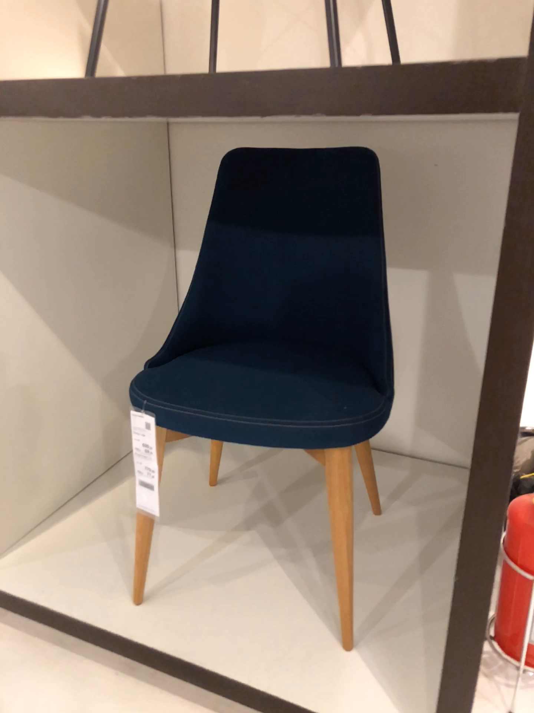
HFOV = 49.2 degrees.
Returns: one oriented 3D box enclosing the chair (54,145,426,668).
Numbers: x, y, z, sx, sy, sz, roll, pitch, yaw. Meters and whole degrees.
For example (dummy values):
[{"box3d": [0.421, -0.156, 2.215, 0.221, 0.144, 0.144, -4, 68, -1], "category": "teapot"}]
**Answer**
[{"box3d": [0.007, 0.034, 1.201, 0.520, 0.865, 0.523, 6, 22, 17], "category": "chair"}]
